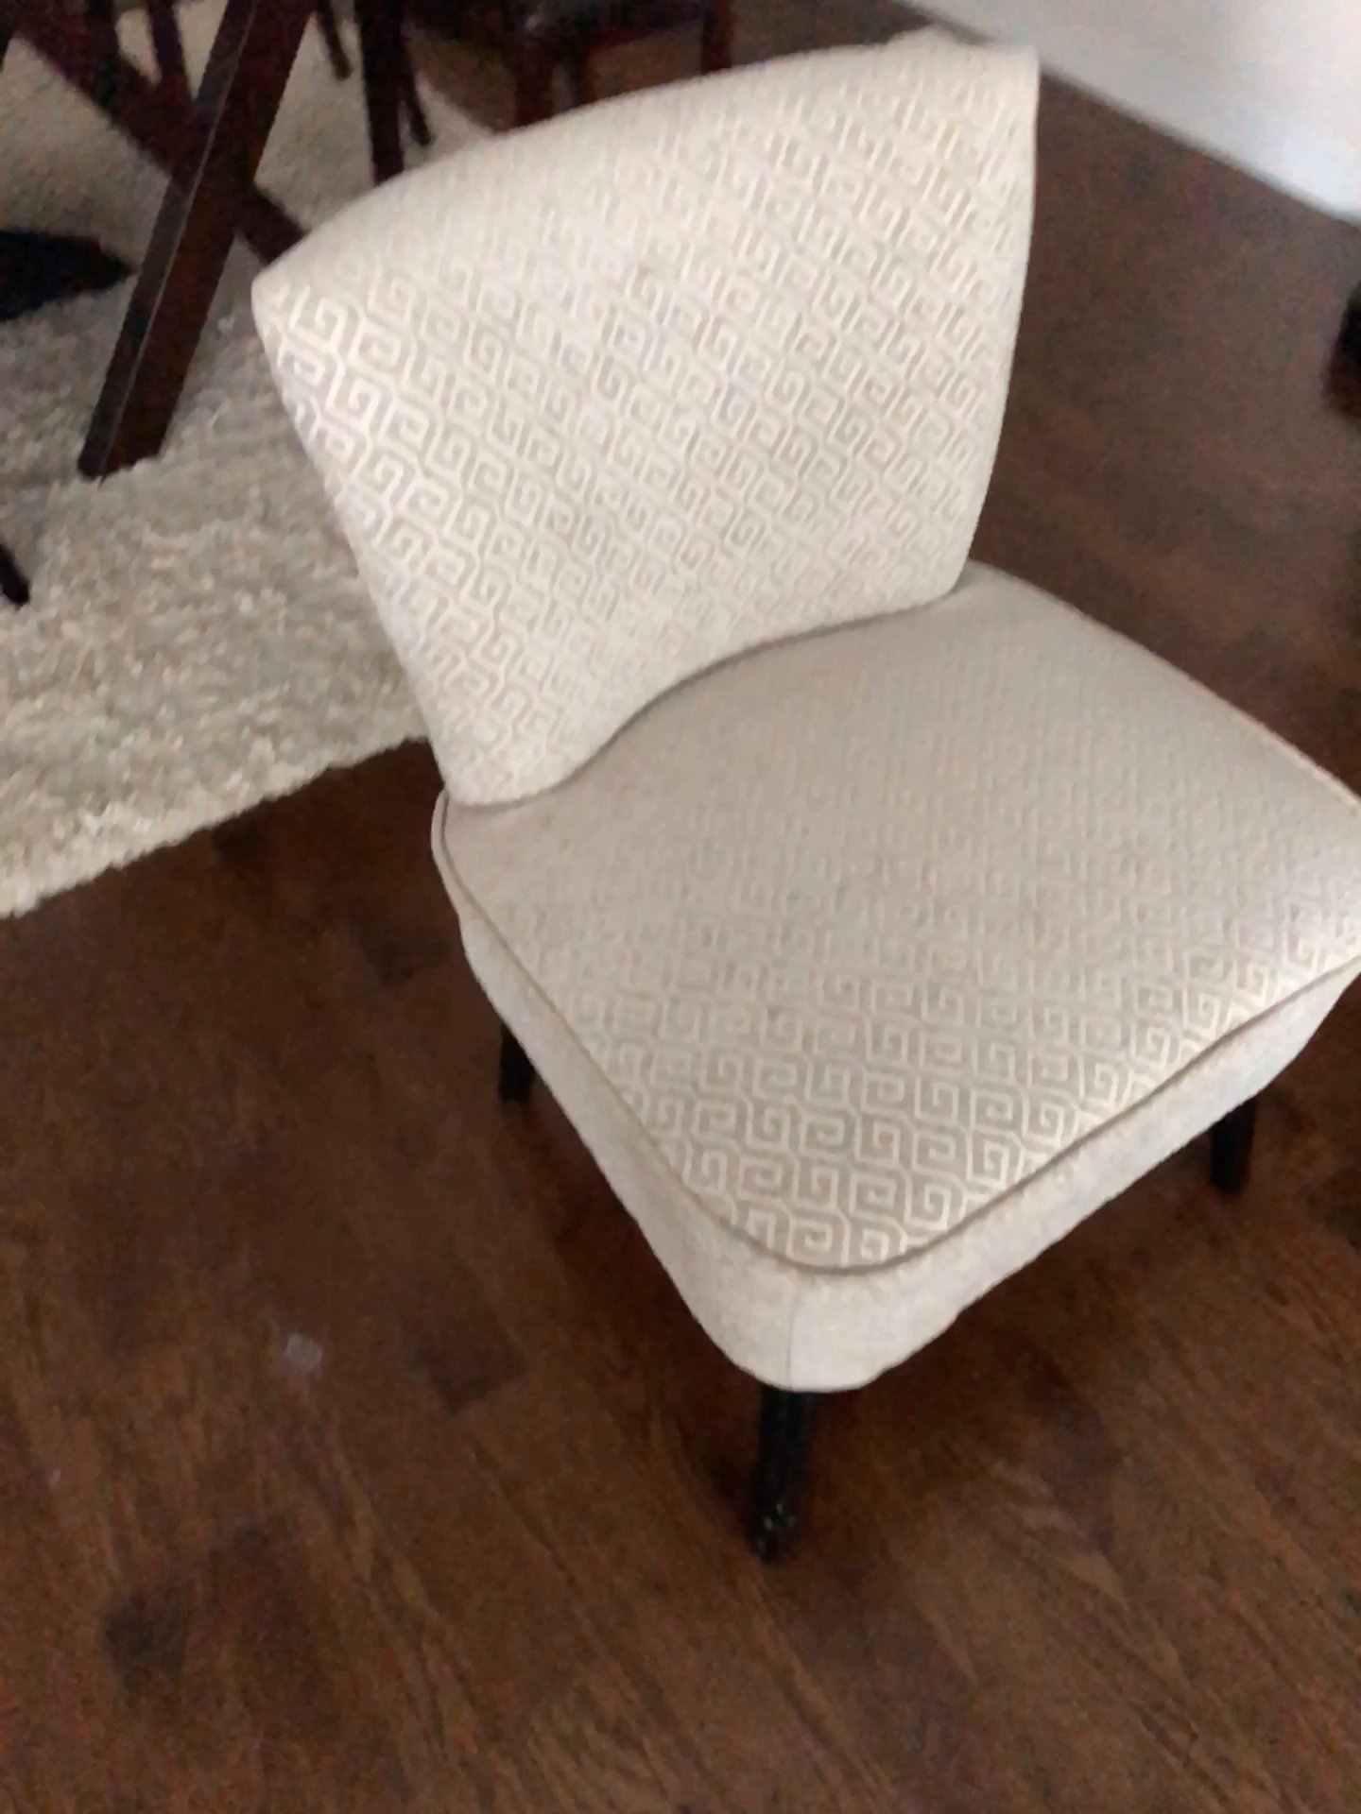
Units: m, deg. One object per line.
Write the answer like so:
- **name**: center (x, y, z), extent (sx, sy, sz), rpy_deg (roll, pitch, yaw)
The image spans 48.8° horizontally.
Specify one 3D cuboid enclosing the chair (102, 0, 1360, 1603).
- **chair**: center (0.113, -0.087, 1.066), extent (0.600, 0.797, 0.642), rpy_deg (-28, 55, -22)
